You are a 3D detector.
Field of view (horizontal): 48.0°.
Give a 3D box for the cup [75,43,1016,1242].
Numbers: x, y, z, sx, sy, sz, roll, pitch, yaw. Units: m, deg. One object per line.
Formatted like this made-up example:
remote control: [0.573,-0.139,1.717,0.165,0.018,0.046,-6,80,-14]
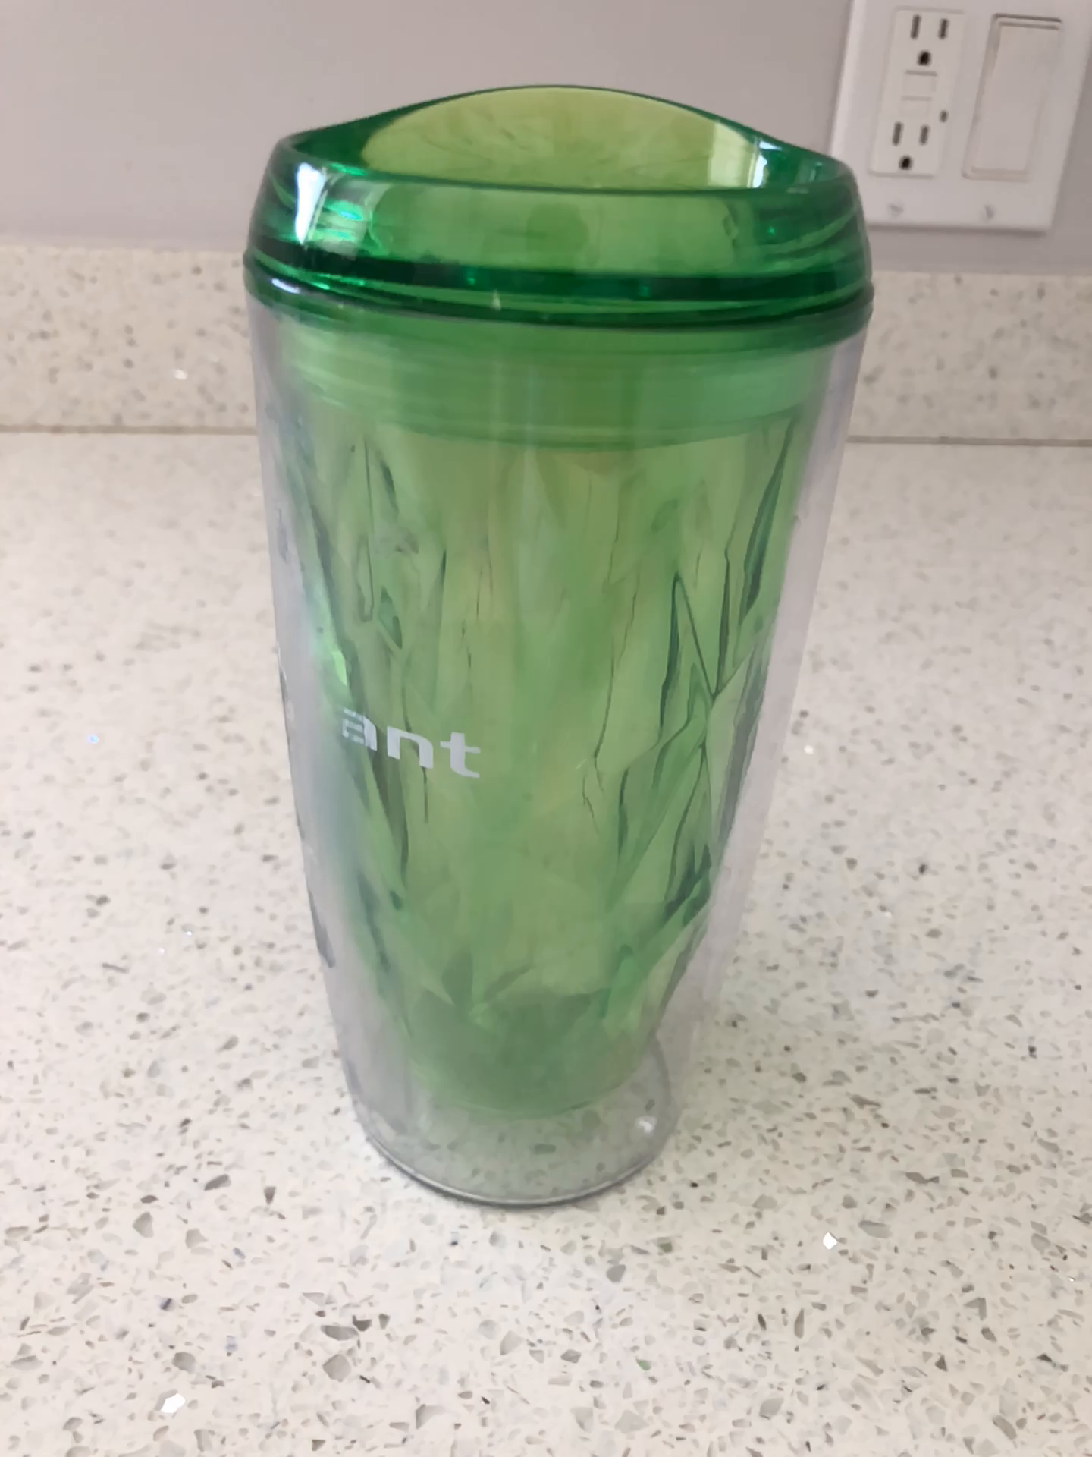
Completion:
cup: [0.000,-0.015,0.195,0.090,0.159,0.090,2,30,-1]
